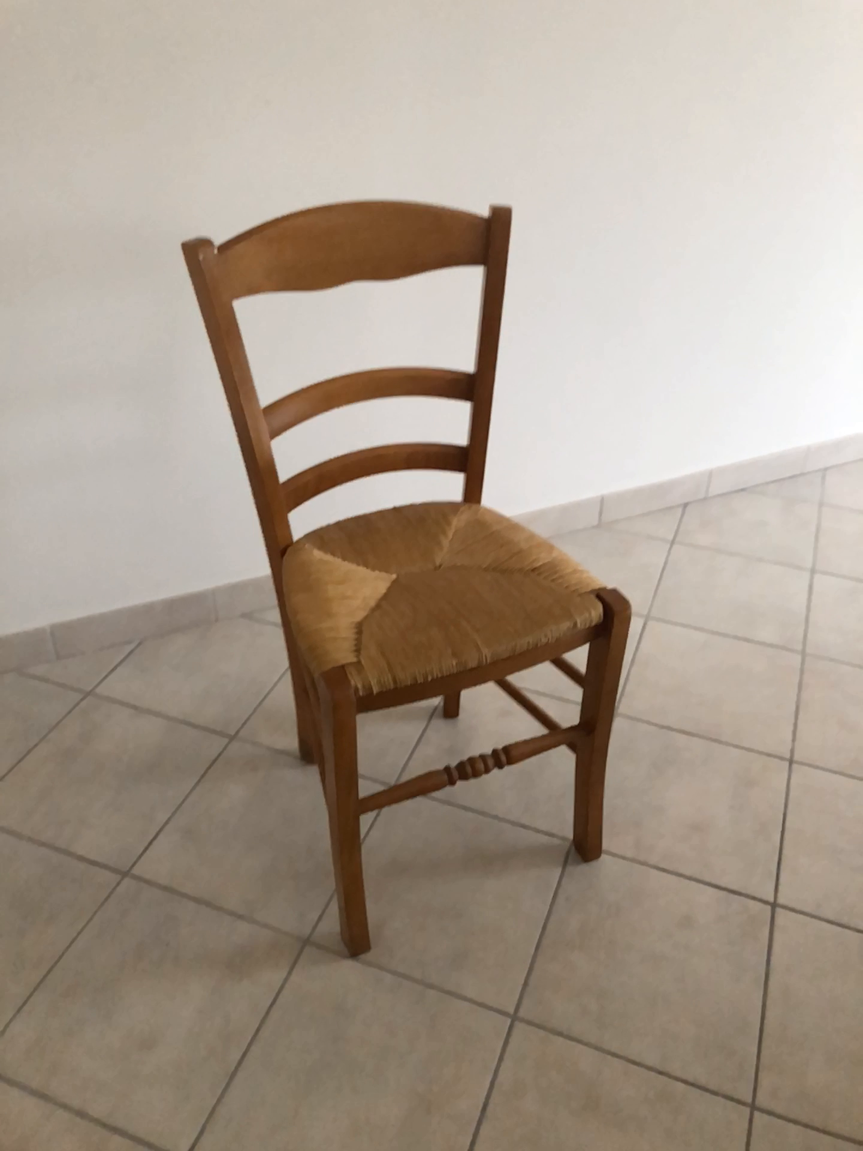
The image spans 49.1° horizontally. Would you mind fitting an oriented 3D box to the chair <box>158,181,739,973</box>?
[{"bbox_3d":[-0.018,-0.010,1.250,0.451,0.825,0.502,-15,38,-21],"label":"chair"}]
